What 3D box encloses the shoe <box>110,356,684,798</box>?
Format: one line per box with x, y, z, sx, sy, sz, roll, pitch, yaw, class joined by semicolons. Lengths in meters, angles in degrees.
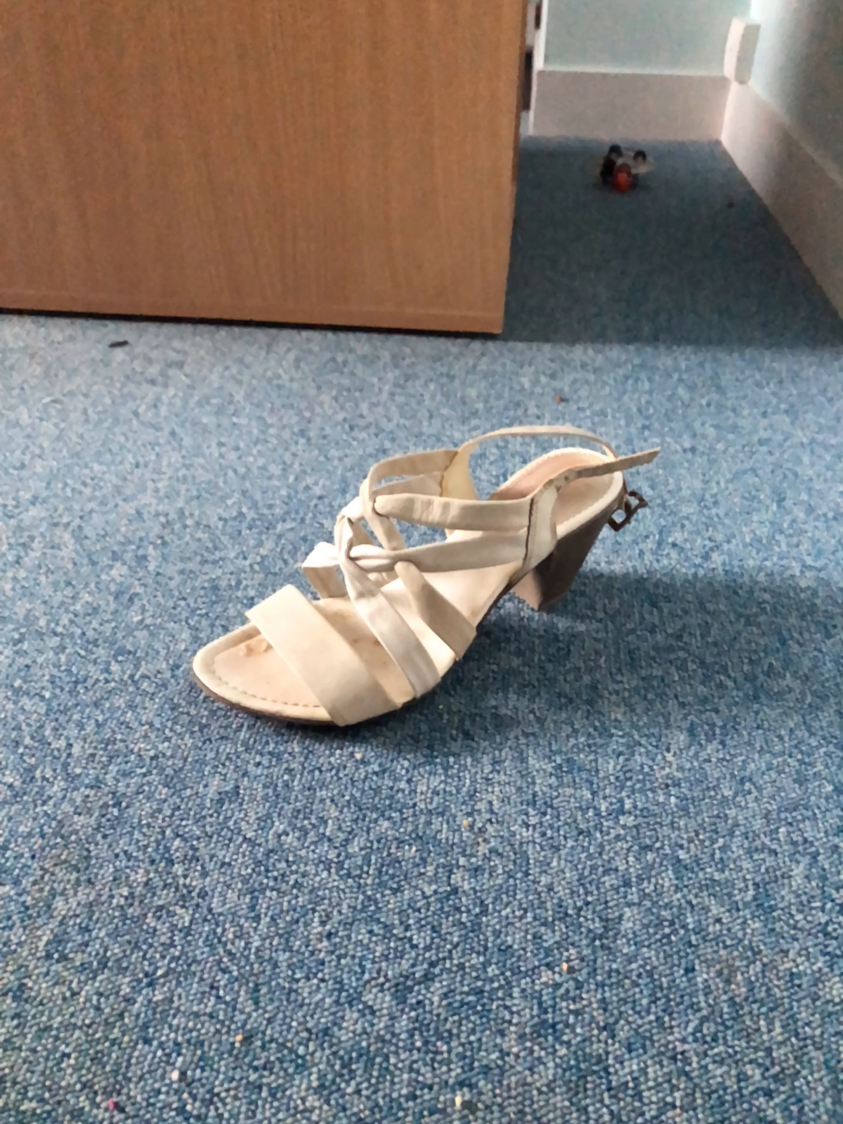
-0.006;-0.005;0.451;0.241;0.109;0.100;-20;41;-25;shoe
